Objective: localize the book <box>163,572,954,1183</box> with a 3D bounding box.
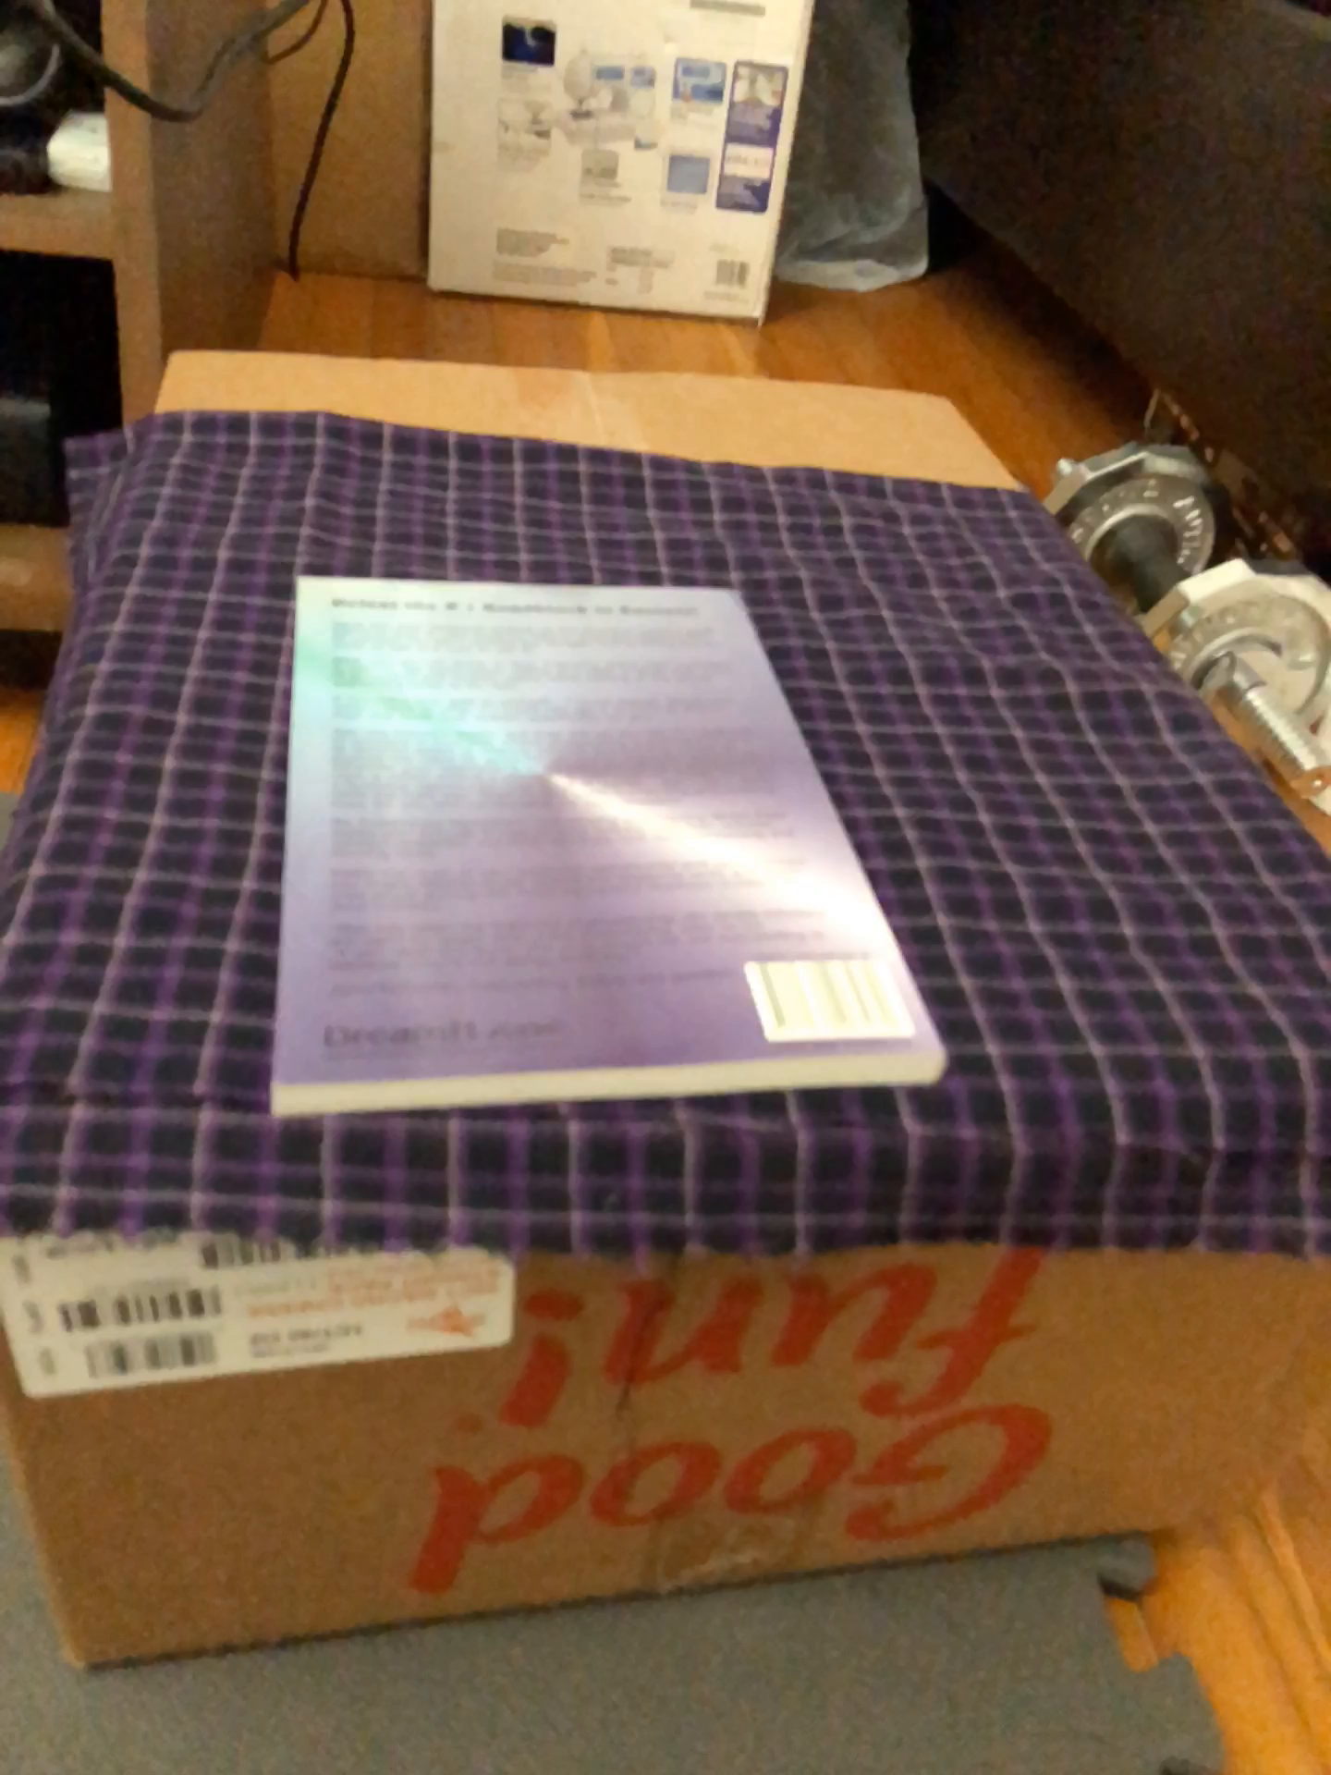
[{"bbox_3d":[-0.037,-0.021,0.381,0.160,0.020,0.221,-1,39,-12],"label":"book"}]
